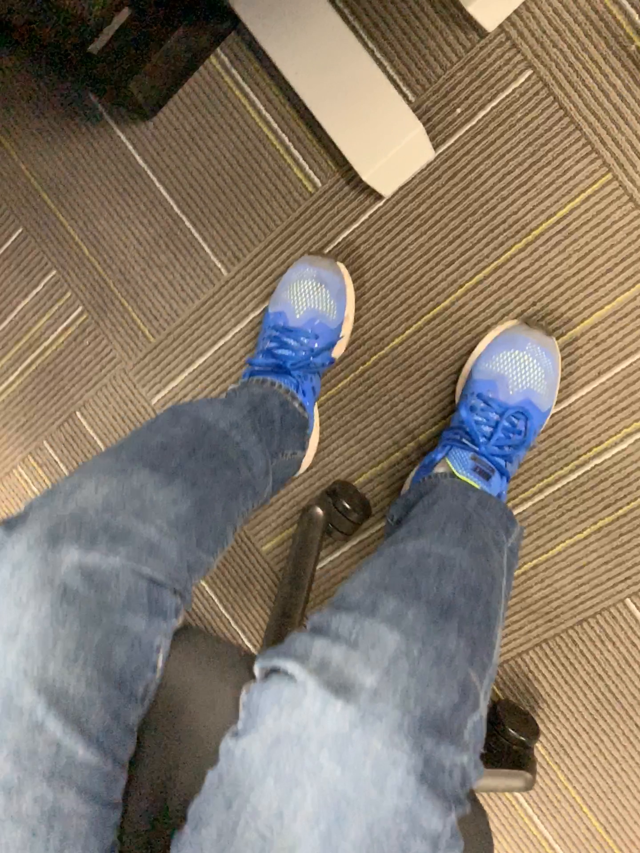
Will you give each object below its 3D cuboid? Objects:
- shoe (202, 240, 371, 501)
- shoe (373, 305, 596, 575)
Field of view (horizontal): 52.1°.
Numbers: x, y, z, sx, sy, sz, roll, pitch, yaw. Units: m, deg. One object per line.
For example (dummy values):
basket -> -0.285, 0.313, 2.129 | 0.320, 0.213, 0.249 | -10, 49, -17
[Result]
shoe -> -0.042, -0.067, 0.793 | 0.116, 0.083, 0.279 | 20, 106, 12
shoe -> 0.182, 0.014, 0.753 | 0.117, 0.083, 0.279 | 29, 107, 9
